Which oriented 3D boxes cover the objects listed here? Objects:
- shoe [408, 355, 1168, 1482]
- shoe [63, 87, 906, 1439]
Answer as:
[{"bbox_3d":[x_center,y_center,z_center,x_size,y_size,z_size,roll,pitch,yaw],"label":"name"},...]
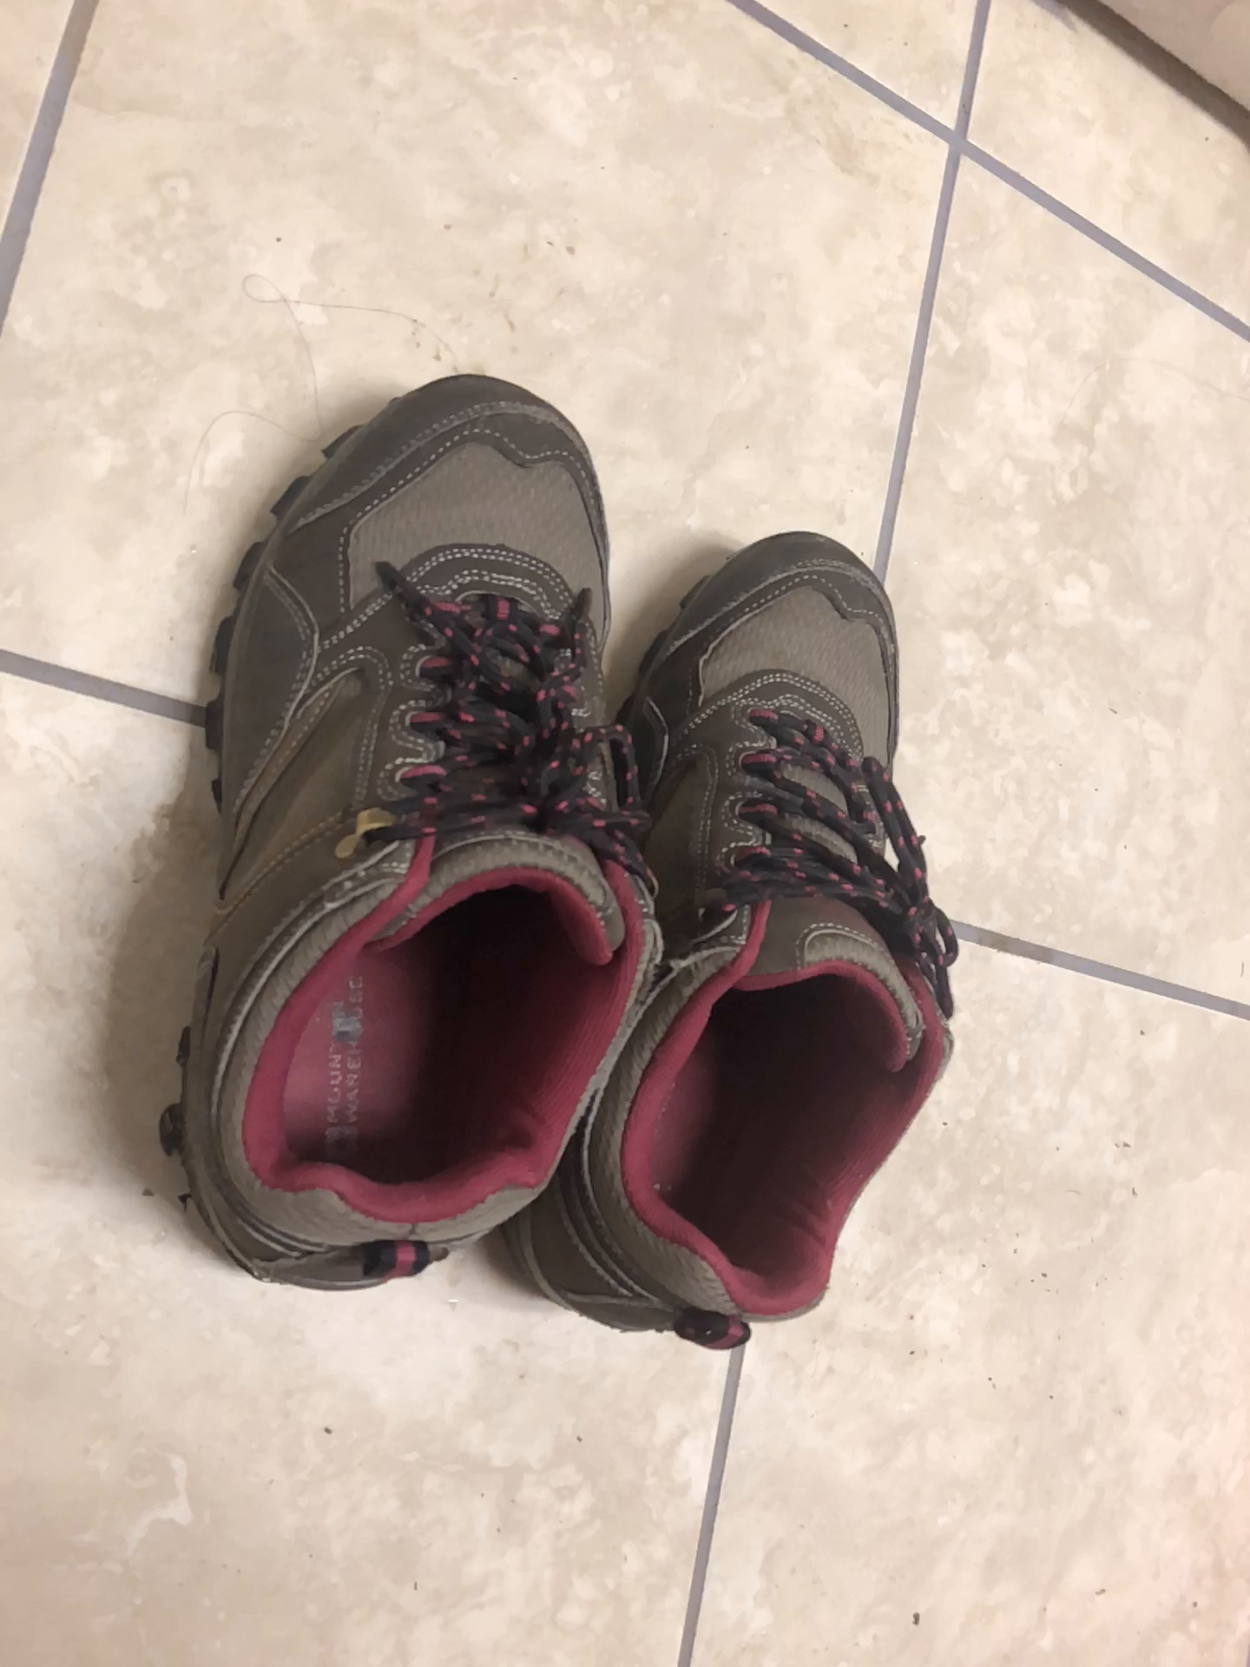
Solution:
[{"bbox_3d":[0.046,0.024,0.394,0.110,0.120,0.260,21,78,-27],"label":"shoe"},{"bbox_3d":[-0.037,-0.010,0.348,0.120,0.120,0.270,16,80,-28],"label":"shoe"}]
